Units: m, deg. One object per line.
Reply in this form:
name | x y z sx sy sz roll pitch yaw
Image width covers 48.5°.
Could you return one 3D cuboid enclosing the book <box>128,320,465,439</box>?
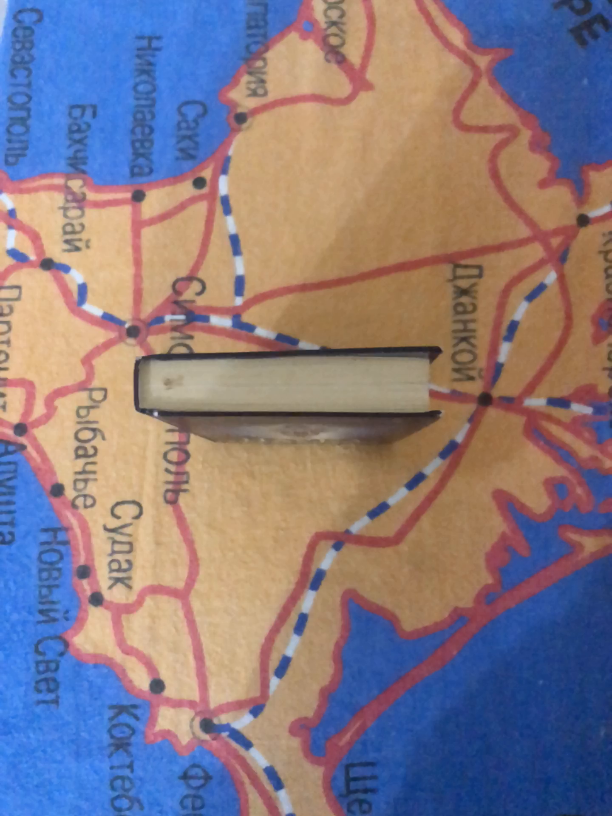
book | -0.002 -0.007 0.386 0.140 0.206 0.030 -1 82 1
